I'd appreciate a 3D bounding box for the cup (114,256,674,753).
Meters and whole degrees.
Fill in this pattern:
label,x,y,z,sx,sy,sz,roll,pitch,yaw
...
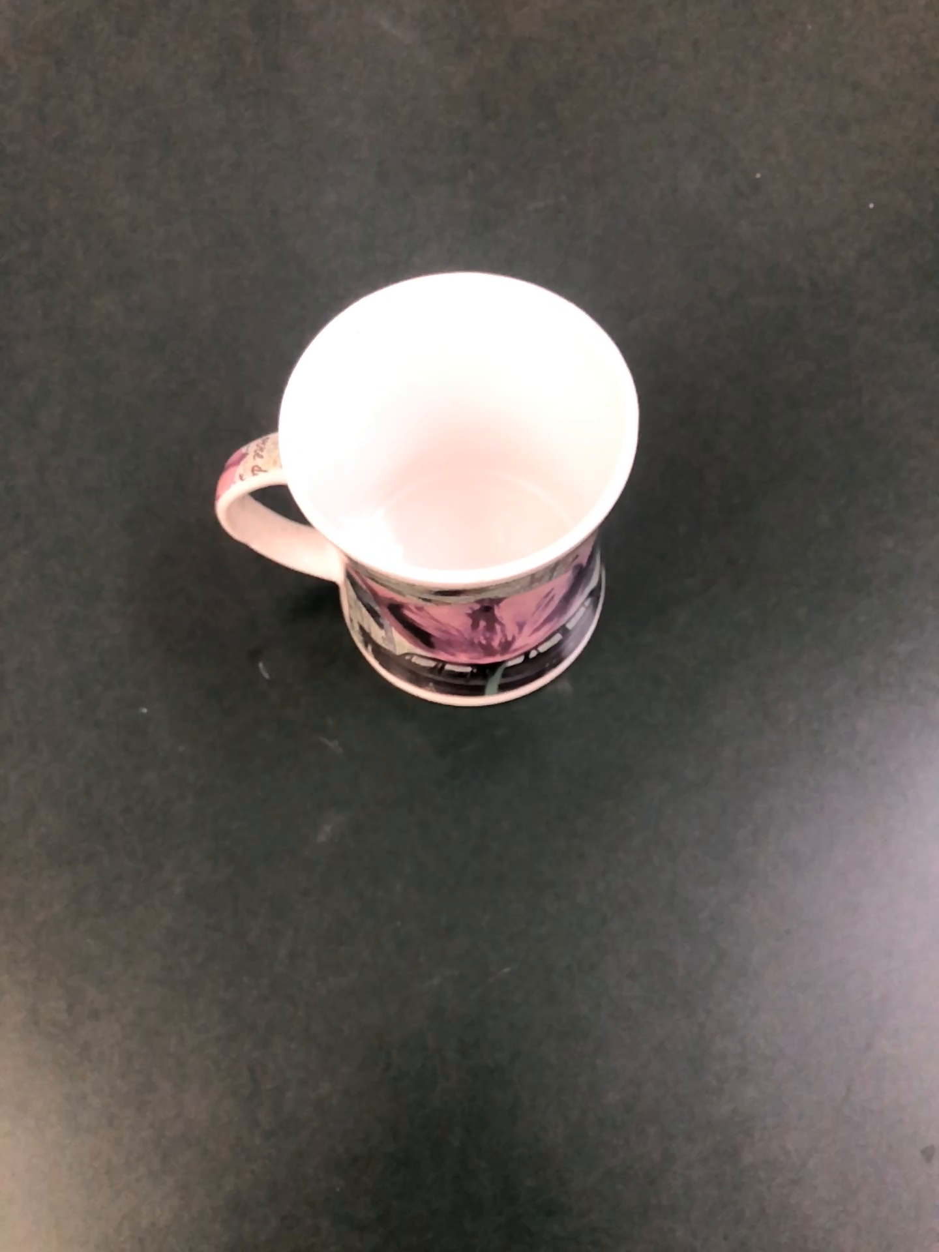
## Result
label,x,y,z,sx,sy,sz,roll,pitch,yaw
cup,-0.016,-0.025,0.293,0.120,0.110,0.090,-3,69,1
